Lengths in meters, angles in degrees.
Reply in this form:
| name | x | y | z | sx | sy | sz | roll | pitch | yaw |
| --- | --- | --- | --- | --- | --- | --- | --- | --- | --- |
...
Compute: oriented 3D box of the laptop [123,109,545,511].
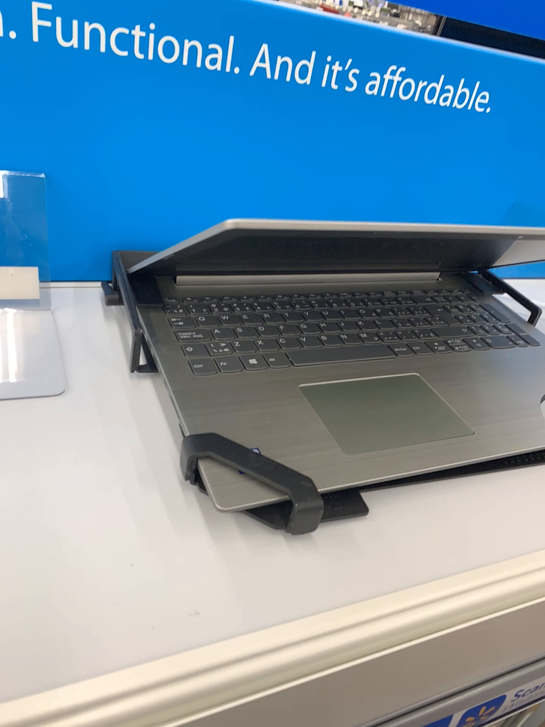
| name | x | y | z | sx | sy | sz | roll | pitch | yaw |
| --- | --- | --- | --- | --- | --- | --- | --- | --- | --- |
| laptop | 0.092 | -0.056 | 0.362 | 0.325 | 0.110 | 0.220 | -4 | 37 | -25 |
